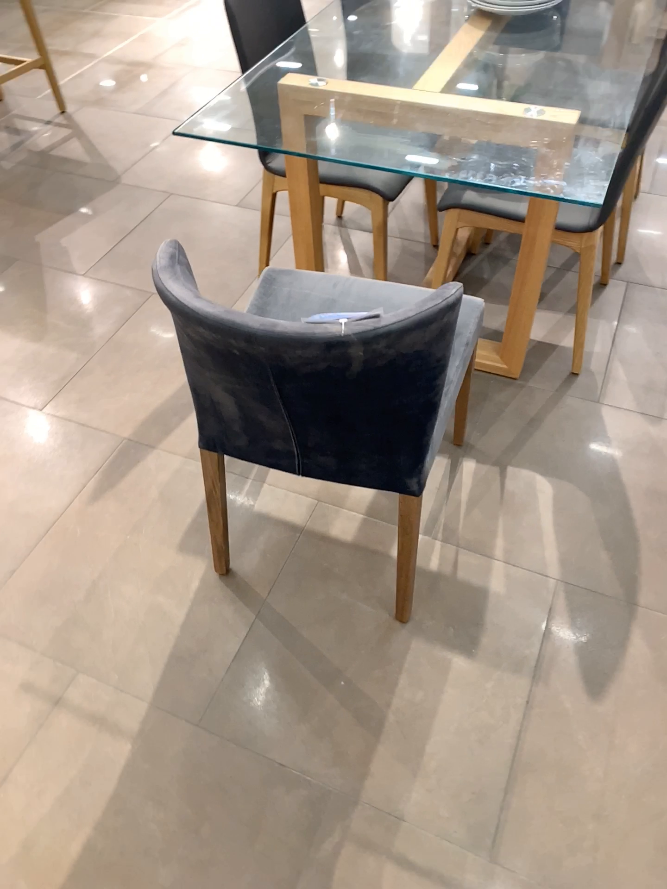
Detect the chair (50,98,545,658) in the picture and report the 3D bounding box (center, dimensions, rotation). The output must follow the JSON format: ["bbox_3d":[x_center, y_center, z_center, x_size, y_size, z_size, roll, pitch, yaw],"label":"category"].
[{"bbox_3d":[0.003,-0.119,1.357,0.578,0.806,0.618,14,51,16],"label":"chair"}]
